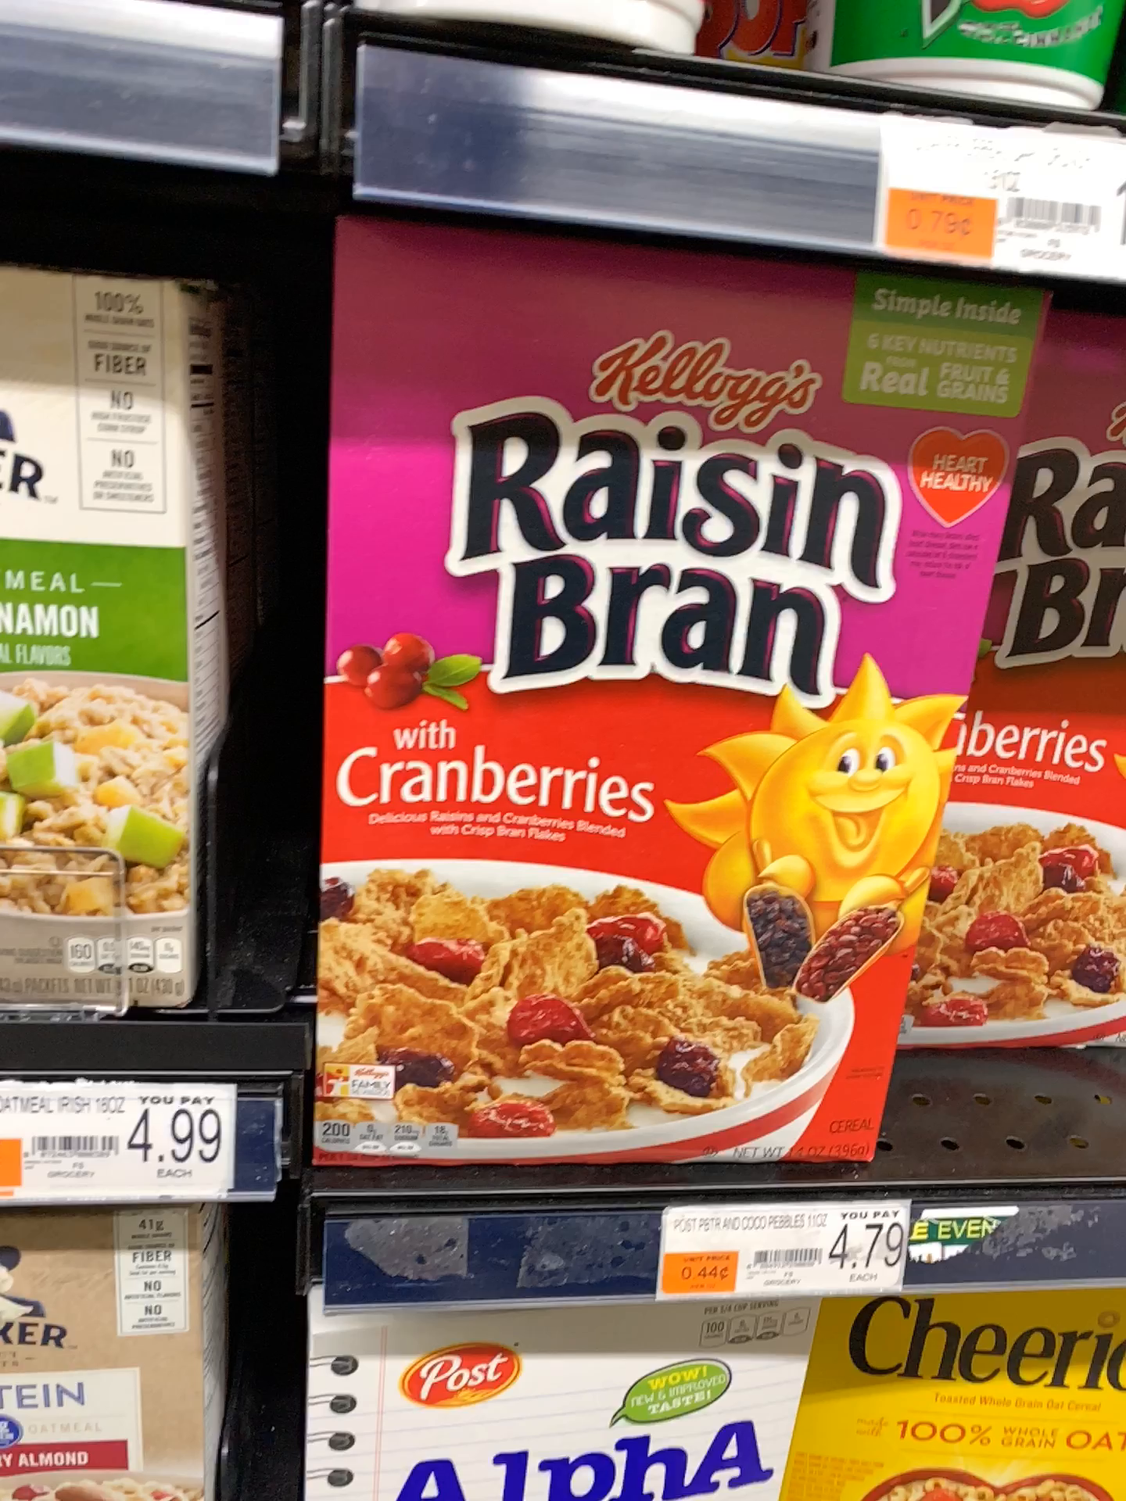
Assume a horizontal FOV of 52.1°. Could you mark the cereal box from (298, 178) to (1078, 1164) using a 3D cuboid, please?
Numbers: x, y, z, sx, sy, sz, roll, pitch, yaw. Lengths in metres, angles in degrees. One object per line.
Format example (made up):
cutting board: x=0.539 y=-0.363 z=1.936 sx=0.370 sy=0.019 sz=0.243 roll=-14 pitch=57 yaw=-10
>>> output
cereal box: x=0.023 y=-0.009 z=0.368 sx=0.200 sy=0.289 sz=0.060 roll=3 pitch=18 yaw=-8
